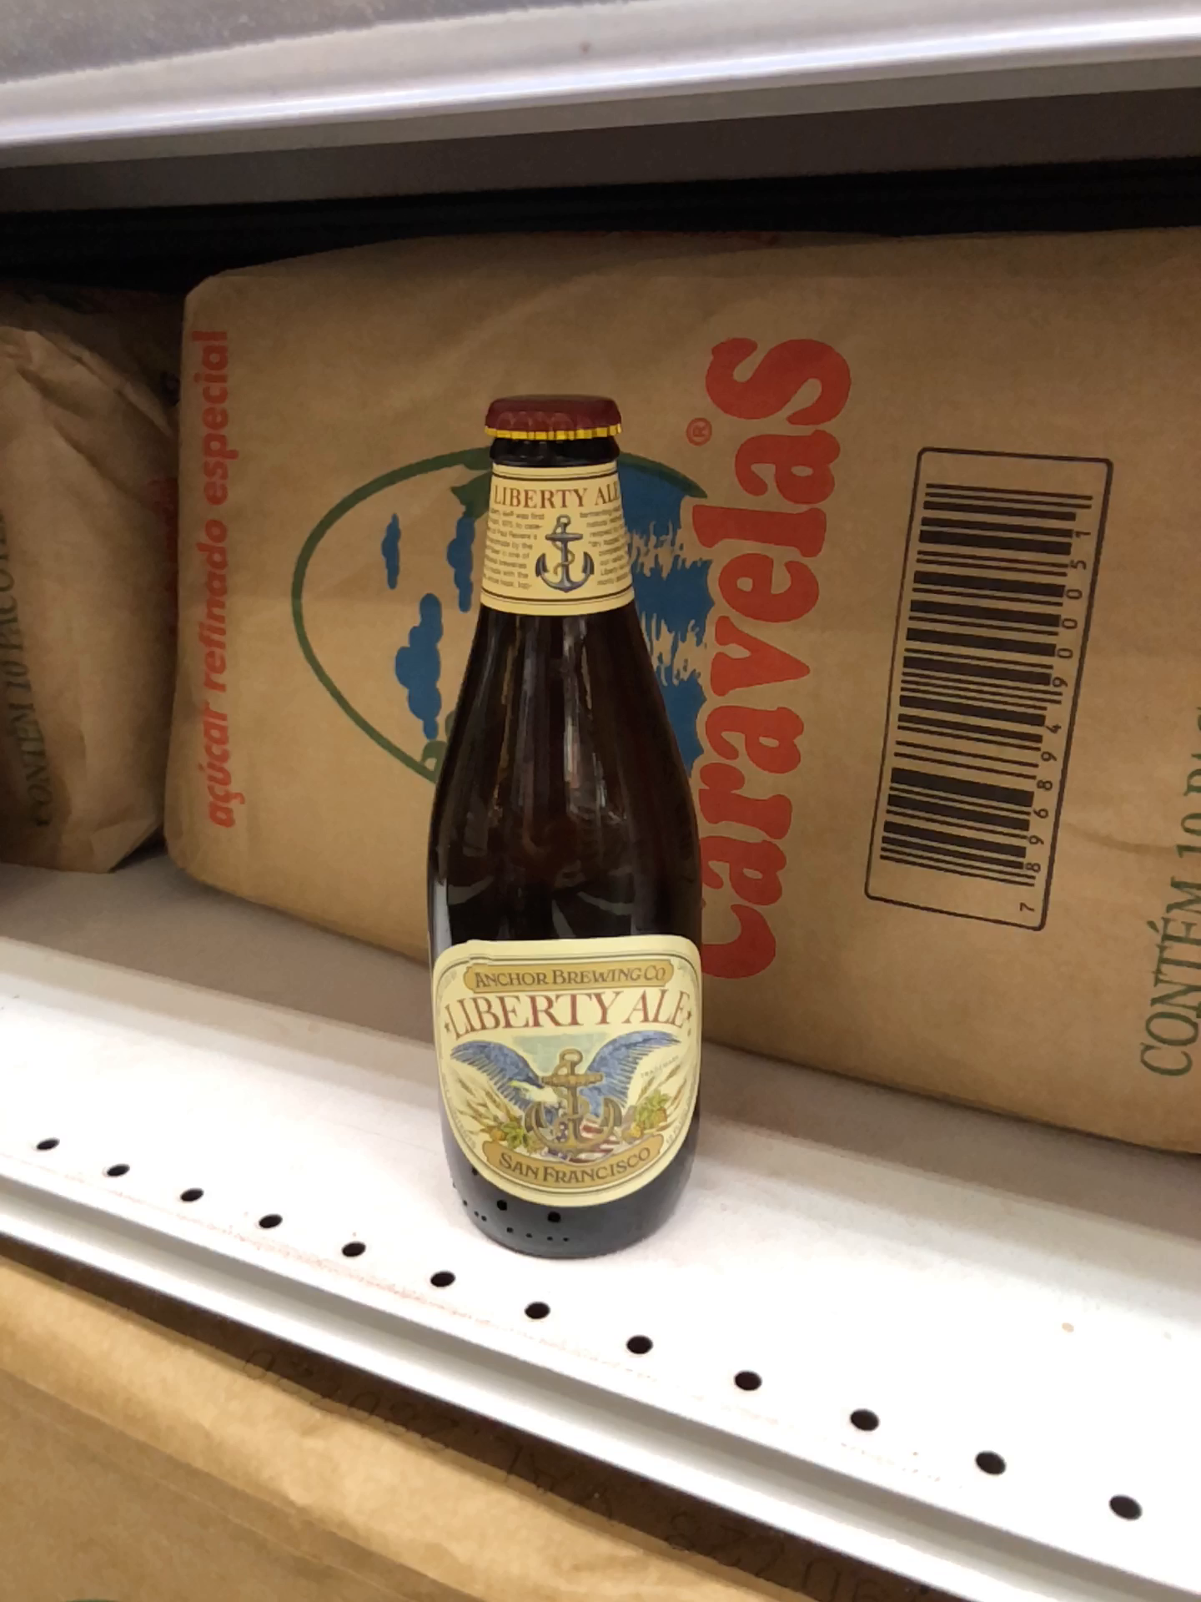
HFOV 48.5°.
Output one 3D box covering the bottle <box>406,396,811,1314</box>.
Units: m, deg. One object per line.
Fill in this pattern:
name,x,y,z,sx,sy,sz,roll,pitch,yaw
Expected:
bottle,0.002,0.011,0.294,0.070,0.189,0.070,0,19,0
